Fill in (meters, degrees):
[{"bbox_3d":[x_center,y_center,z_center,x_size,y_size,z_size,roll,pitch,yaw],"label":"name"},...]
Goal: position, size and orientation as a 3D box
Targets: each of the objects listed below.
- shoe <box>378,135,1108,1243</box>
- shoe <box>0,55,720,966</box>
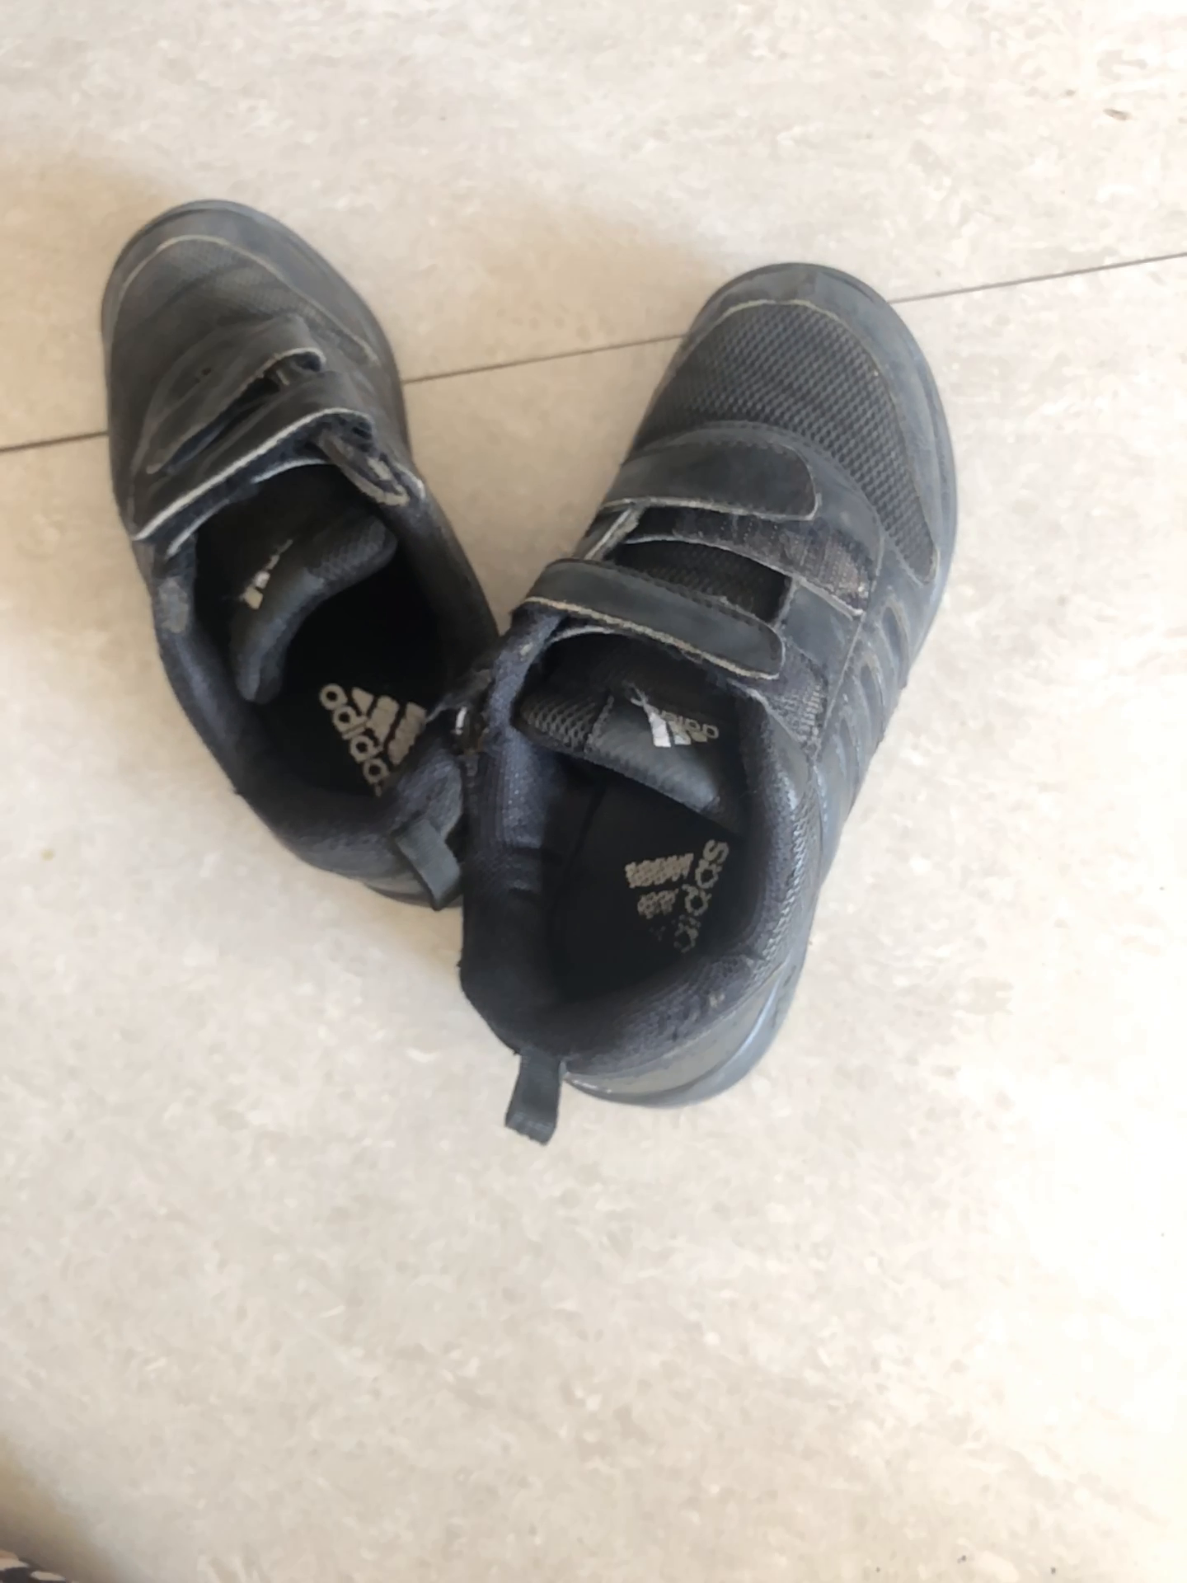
[{"bbox_3d":[0.041,-0.024,0.327,0.100,0.100,0.220,15,87,15],"label":"shoe"},{"bbox_3d":[-0.067,-0.067,0.350,0.100,0.080,0.200,-32,76,8],"label":"shoe"}]
